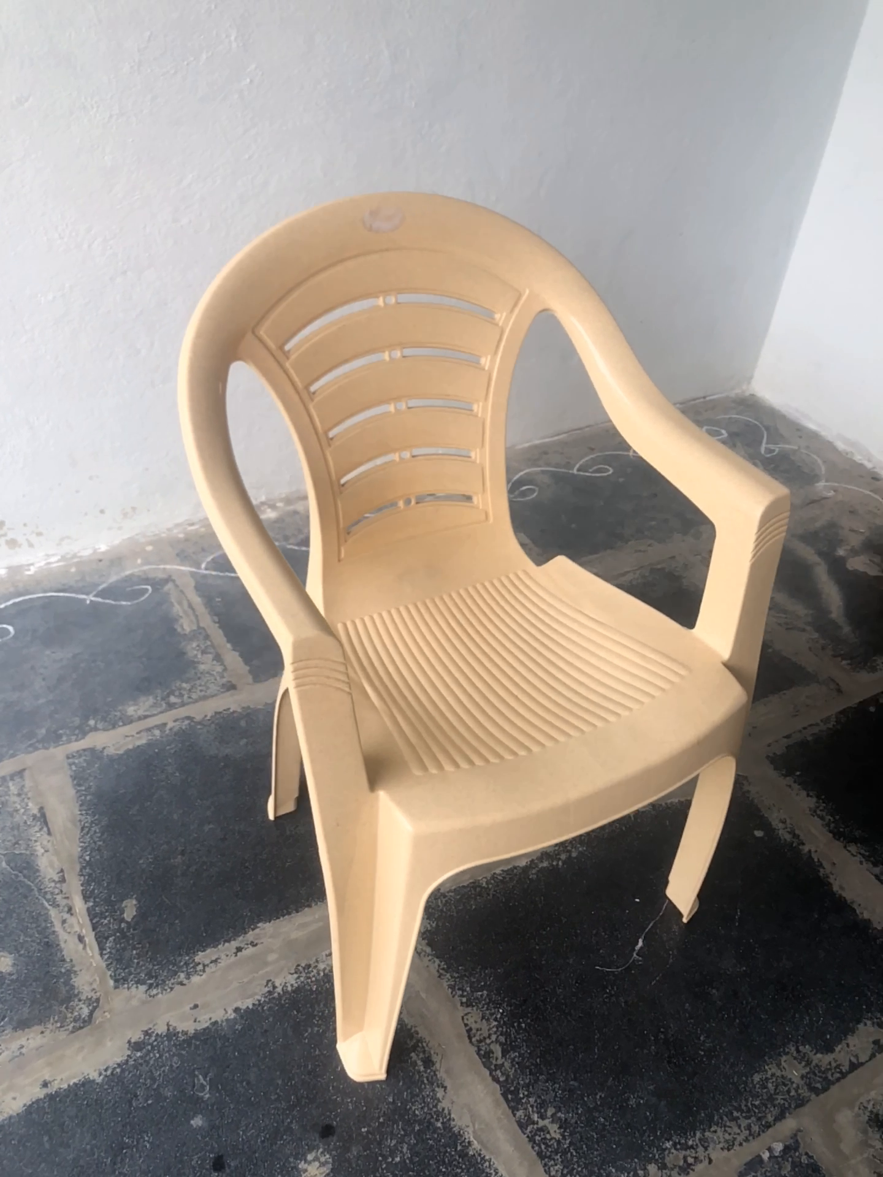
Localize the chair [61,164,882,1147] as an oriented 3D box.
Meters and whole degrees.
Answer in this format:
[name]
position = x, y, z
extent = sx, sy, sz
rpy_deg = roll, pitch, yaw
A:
[chair]
position = 0.037, 0.013, 1.118
extent = 0.622, 0.736, 0.651
rpy_deg = -20, 44, -28
